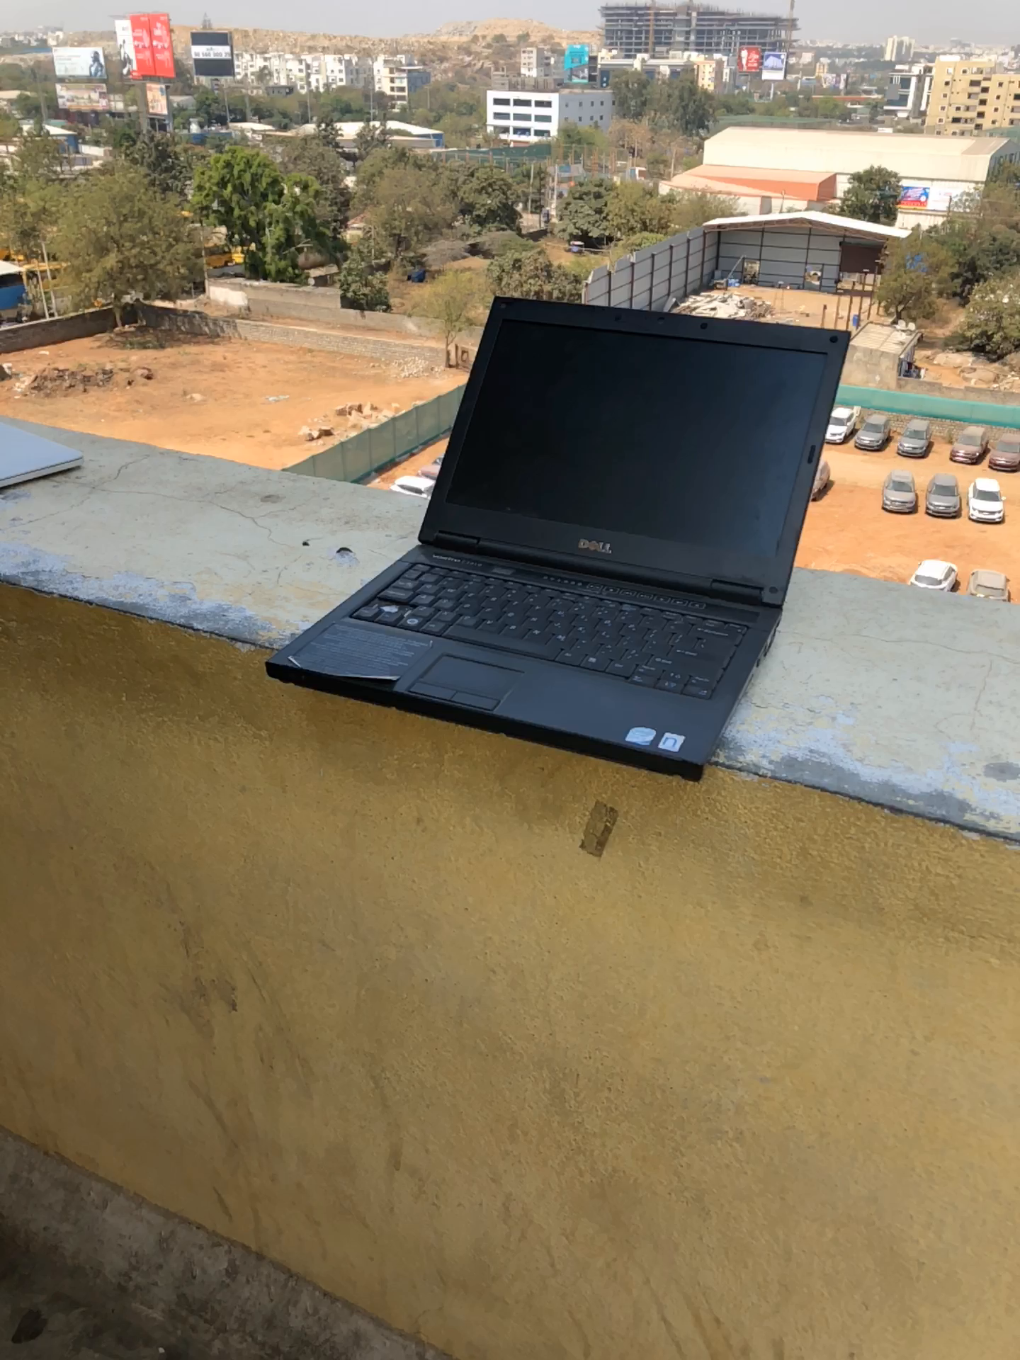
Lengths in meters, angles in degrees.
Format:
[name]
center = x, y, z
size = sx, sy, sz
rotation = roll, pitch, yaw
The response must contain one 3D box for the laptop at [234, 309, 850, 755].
[laptop]
center = 0.049, -0.141, 0.820
size = 0.301, 0.177, 0.377
rotation = 12, 30, 21
